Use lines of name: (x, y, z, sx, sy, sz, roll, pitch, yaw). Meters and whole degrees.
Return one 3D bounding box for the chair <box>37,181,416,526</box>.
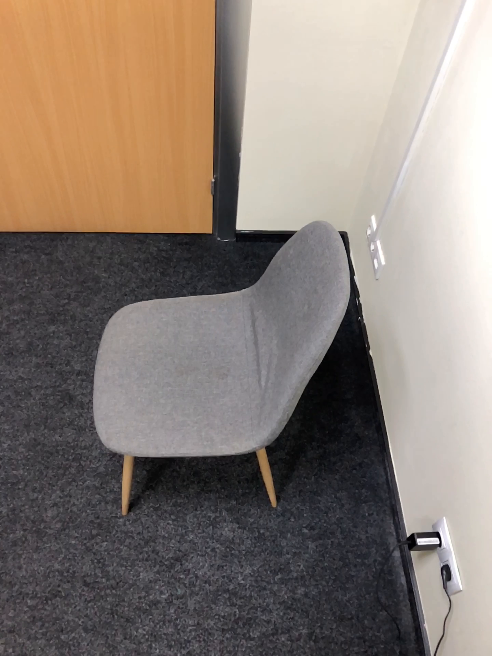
chair: (-0.068, 0.113, 1.303, 0.600, 0.786, 0.472, -2, 56, -6)
